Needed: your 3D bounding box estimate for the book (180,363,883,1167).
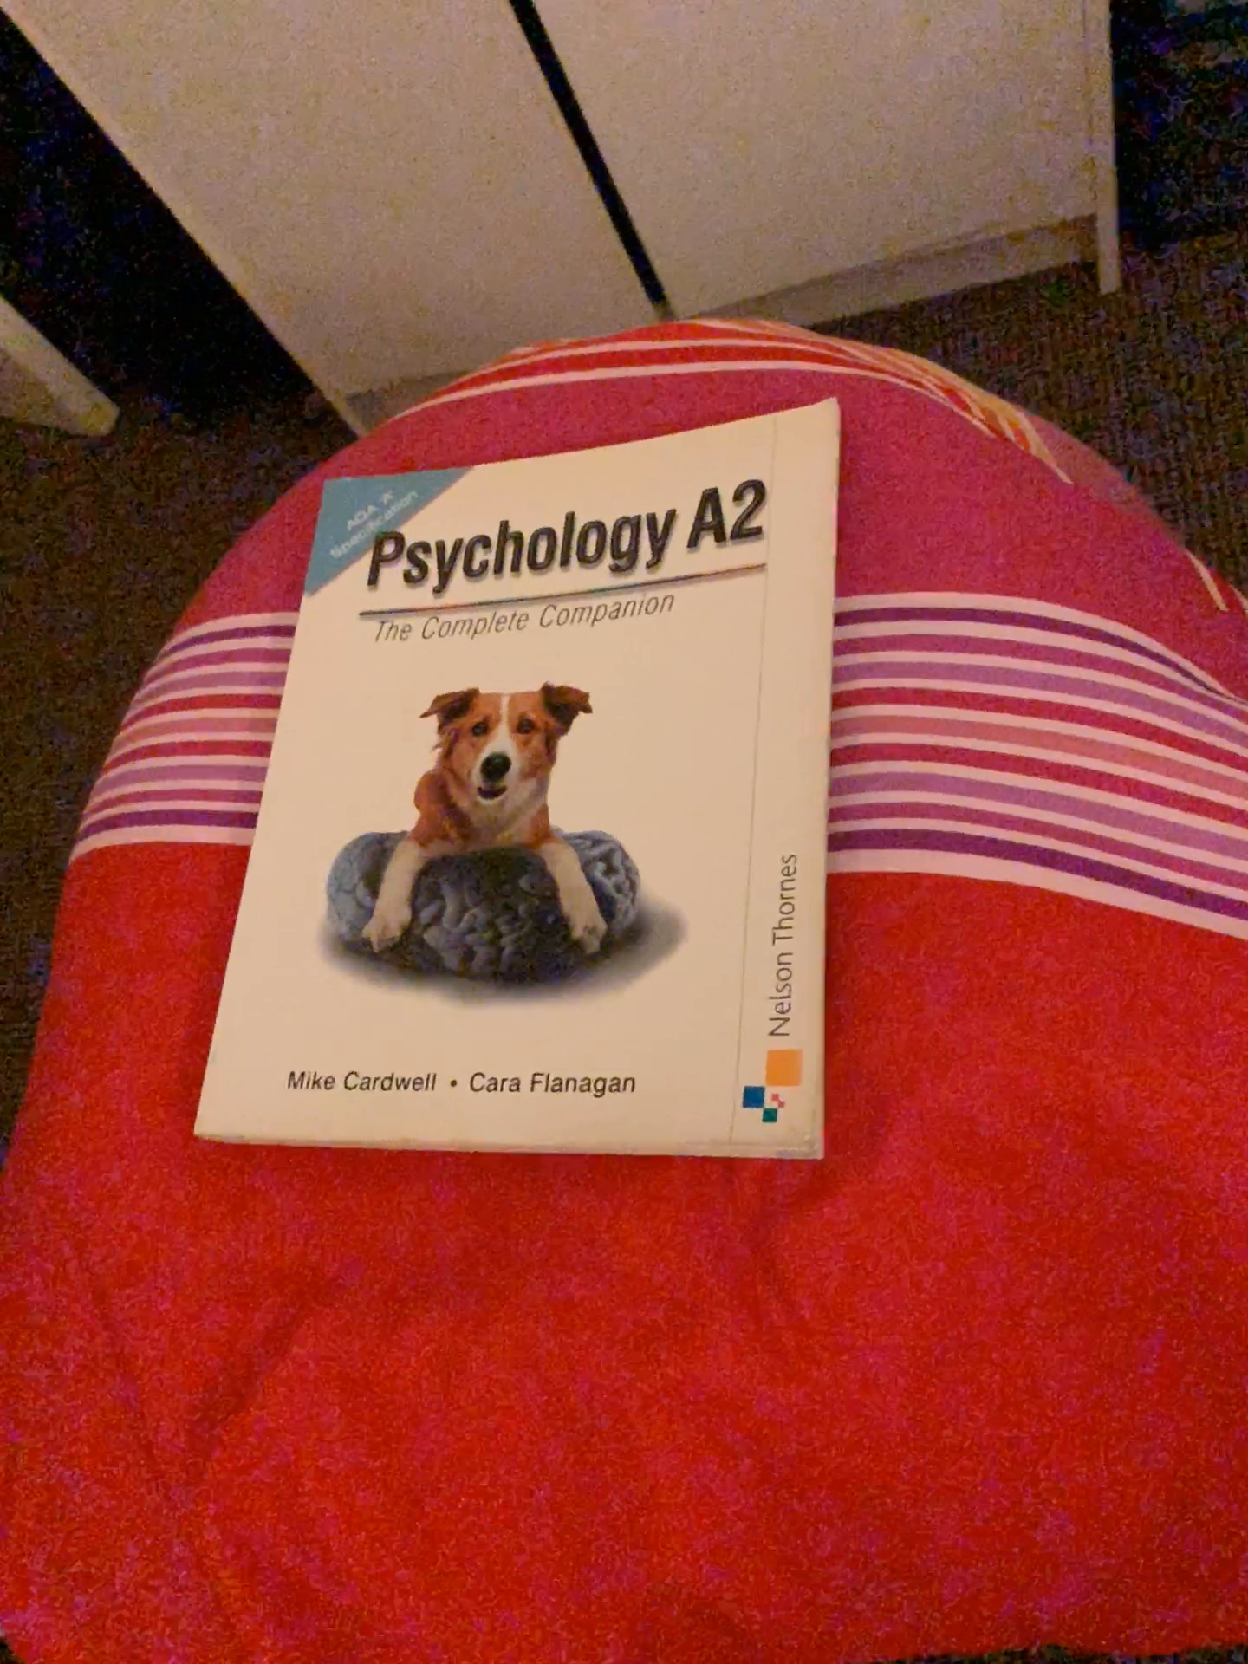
[{"bbox_3d":[-0.026,-0.028,0.485,0.241,0.040,0.291,-5,64,21],"label":"book"}]
